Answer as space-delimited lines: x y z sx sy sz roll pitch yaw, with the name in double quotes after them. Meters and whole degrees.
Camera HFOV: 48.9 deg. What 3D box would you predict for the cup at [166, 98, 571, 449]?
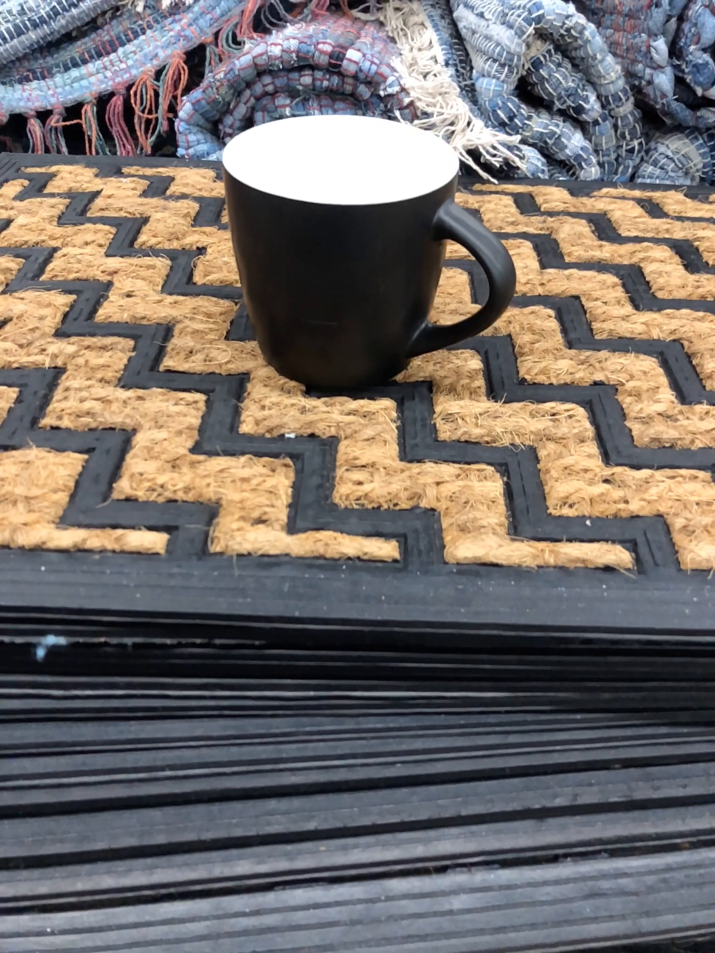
0.004 -0.089 0.321 0.123 0.081 0.090 25 47 24 "cup"
